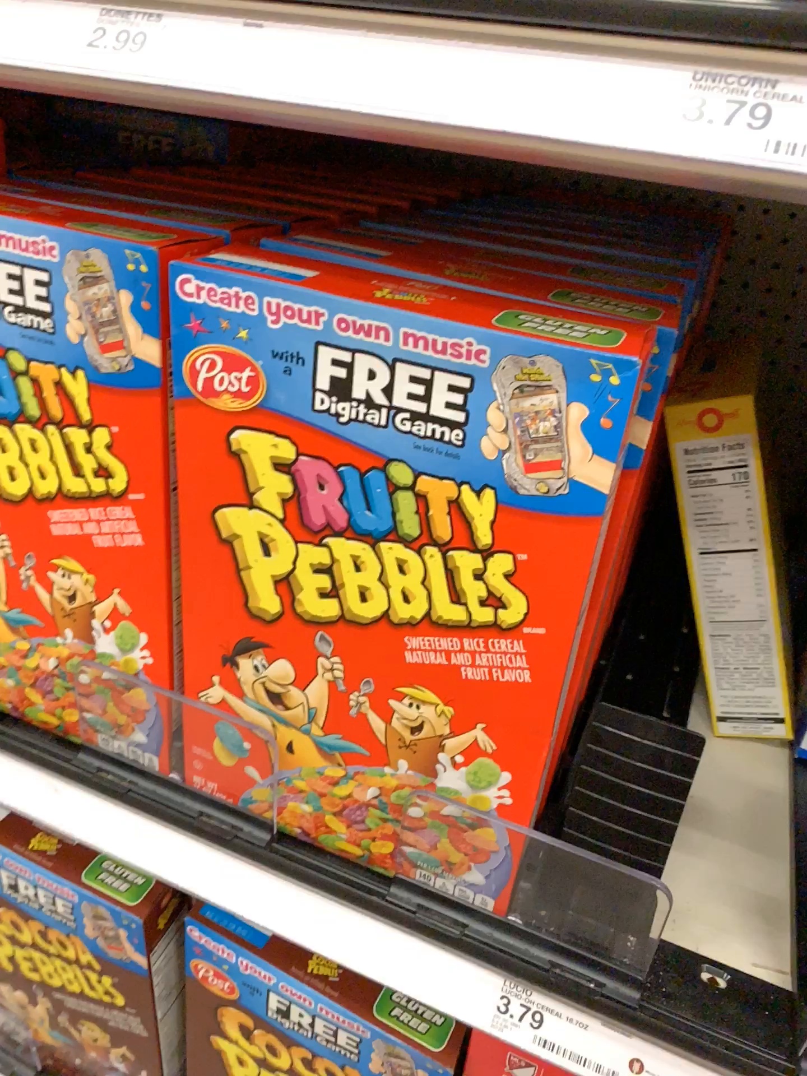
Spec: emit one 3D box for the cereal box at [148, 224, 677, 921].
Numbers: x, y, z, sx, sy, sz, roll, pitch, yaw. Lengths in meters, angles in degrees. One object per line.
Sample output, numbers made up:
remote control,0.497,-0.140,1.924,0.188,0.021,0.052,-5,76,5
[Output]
cereal box,-0.012,0.022,0.395,0.200,0.288,0.060,16,30,17
